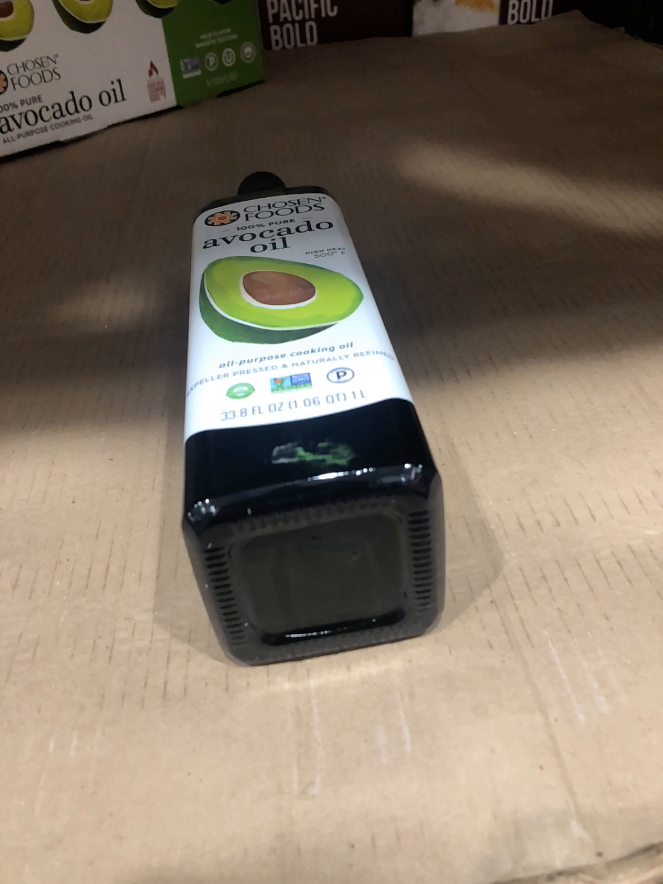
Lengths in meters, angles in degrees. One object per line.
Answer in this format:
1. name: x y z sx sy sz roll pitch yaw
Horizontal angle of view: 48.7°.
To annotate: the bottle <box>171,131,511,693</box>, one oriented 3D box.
1. bottle: -0.015 -0.055 0.333 0.086 0.074 0.321 -8 38 -3
